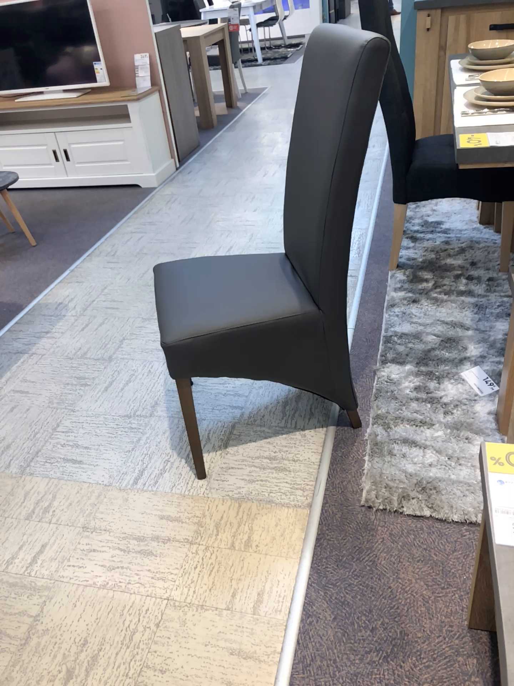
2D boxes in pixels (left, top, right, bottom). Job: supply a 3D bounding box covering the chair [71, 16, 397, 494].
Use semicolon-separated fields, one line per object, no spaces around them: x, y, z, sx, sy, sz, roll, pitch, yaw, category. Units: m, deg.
-0.031;-0.221;1.449;0.570;1.014;0.523;-11;32;-7;chair
